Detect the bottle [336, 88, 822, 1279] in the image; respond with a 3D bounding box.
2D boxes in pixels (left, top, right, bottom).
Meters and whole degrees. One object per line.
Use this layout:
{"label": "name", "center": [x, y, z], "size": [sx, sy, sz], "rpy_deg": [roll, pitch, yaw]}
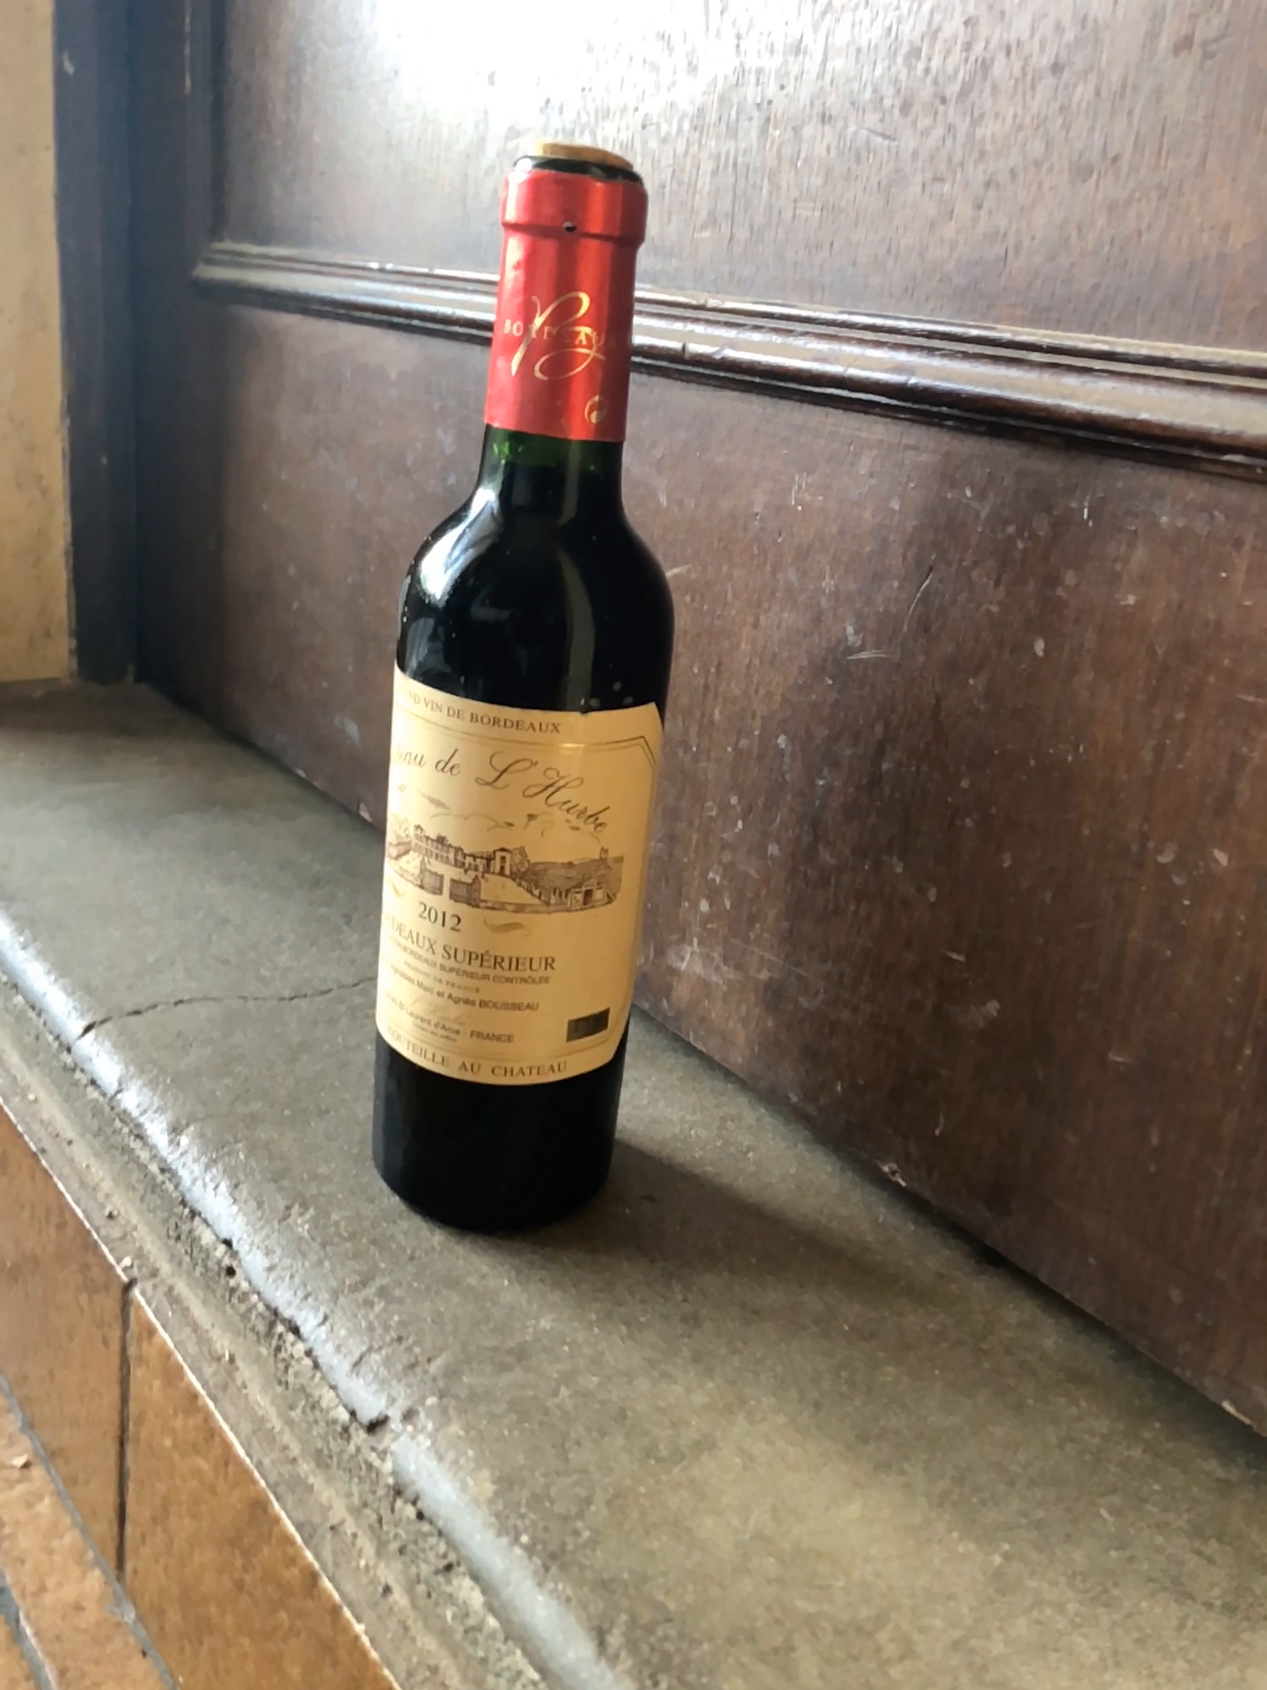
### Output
{"label": "bottle", "center": [-0.016, -0.029, 0.315], "size": [0.070, 0.239, 0.060], "rpy_deg": [12, 21, 14]}
